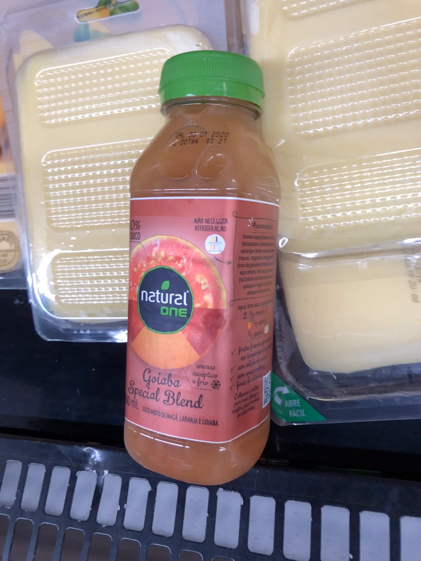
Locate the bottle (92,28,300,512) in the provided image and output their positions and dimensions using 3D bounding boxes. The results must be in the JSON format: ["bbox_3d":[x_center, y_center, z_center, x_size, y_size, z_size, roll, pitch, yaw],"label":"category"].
[{"bbox_3d":[-0.002,-0.005,0.219,0.060,0.070,0.180,4,89,23],"label":"bottle"}]
